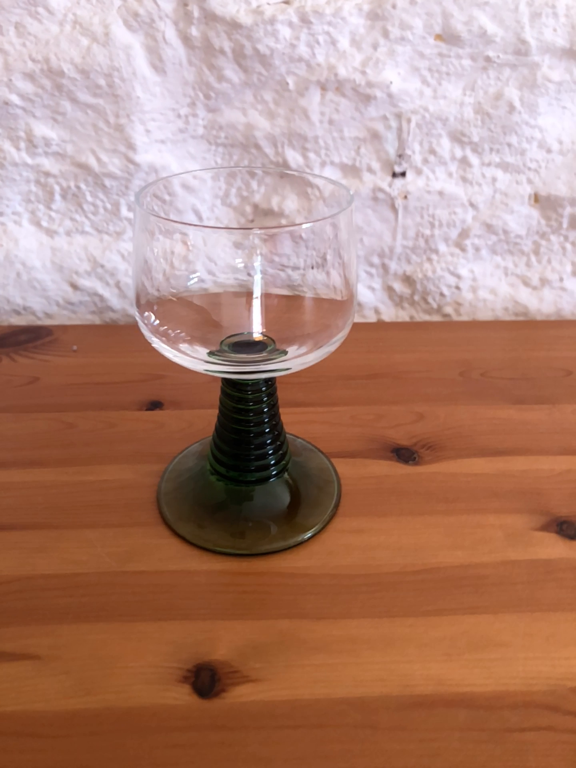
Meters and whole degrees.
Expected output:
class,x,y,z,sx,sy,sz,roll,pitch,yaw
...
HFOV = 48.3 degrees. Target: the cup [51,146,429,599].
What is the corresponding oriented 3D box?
class,x,y,z,sx,sy,sz,roll,pitch,yaw
cup,-0.013,-0.010,0.205,0.073,0.106,0.075,1,31,-1
